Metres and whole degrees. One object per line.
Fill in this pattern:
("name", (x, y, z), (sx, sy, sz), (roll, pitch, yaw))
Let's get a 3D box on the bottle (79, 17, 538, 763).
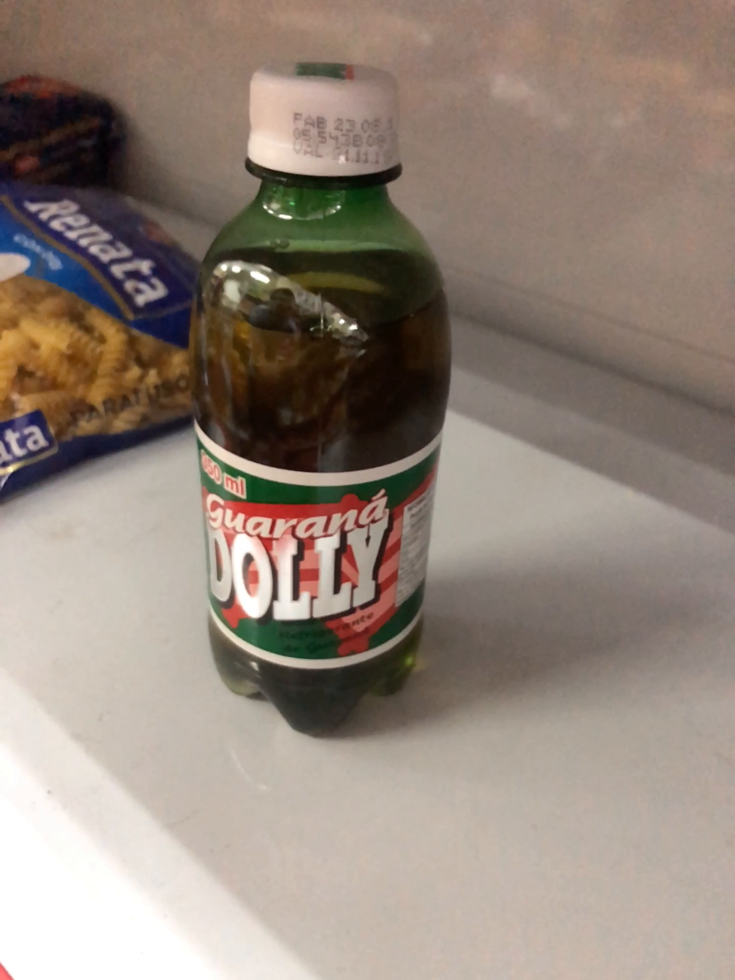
("bottle", (-0.008, -0.018, 0.223), (0.080, 0.179, 0.071), (7, 36, 7))
